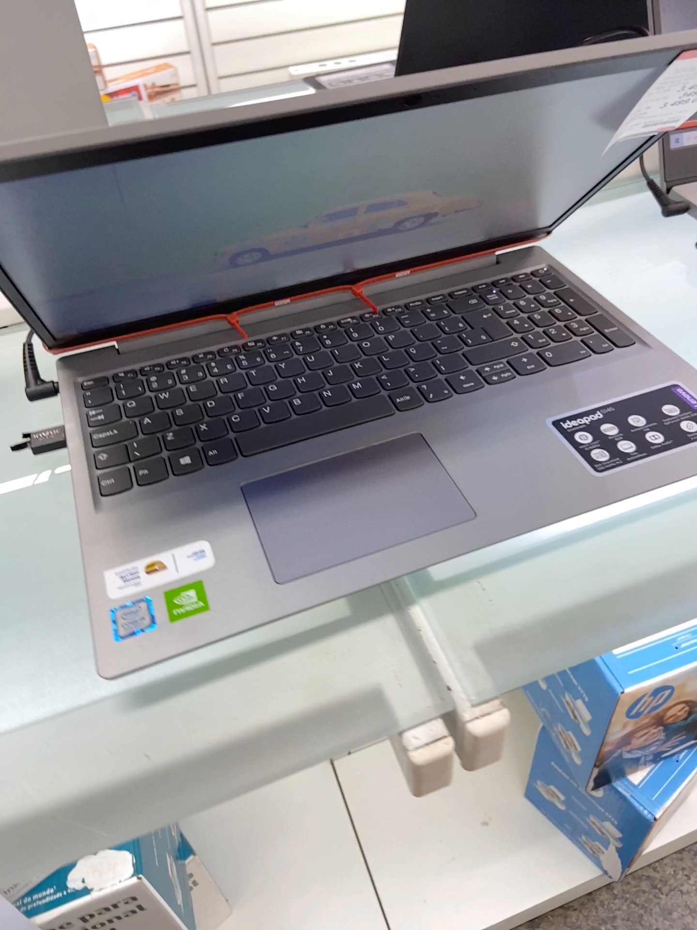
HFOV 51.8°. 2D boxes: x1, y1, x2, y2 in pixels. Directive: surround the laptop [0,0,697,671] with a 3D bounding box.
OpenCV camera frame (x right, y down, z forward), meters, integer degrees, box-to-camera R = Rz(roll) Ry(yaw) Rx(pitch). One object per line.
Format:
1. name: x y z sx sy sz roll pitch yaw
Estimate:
1. laptop: 0.012 -0.105 0.370 0.360 0.175 0.245 -17 45 -12
